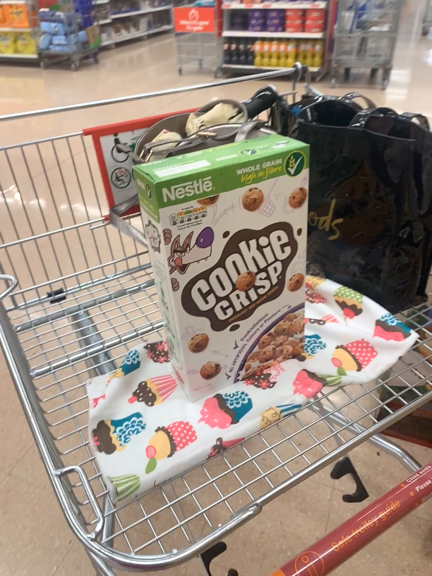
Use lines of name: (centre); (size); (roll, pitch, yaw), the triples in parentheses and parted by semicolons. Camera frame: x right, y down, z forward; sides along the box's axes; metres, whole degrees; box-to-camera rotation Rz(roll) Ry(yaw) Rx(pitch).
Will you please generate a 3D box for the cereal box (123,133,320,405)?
cereal box: (0.020, -0.022, 0.587); (0.220, 0.307, 0.070); (-19, 33, -22)
